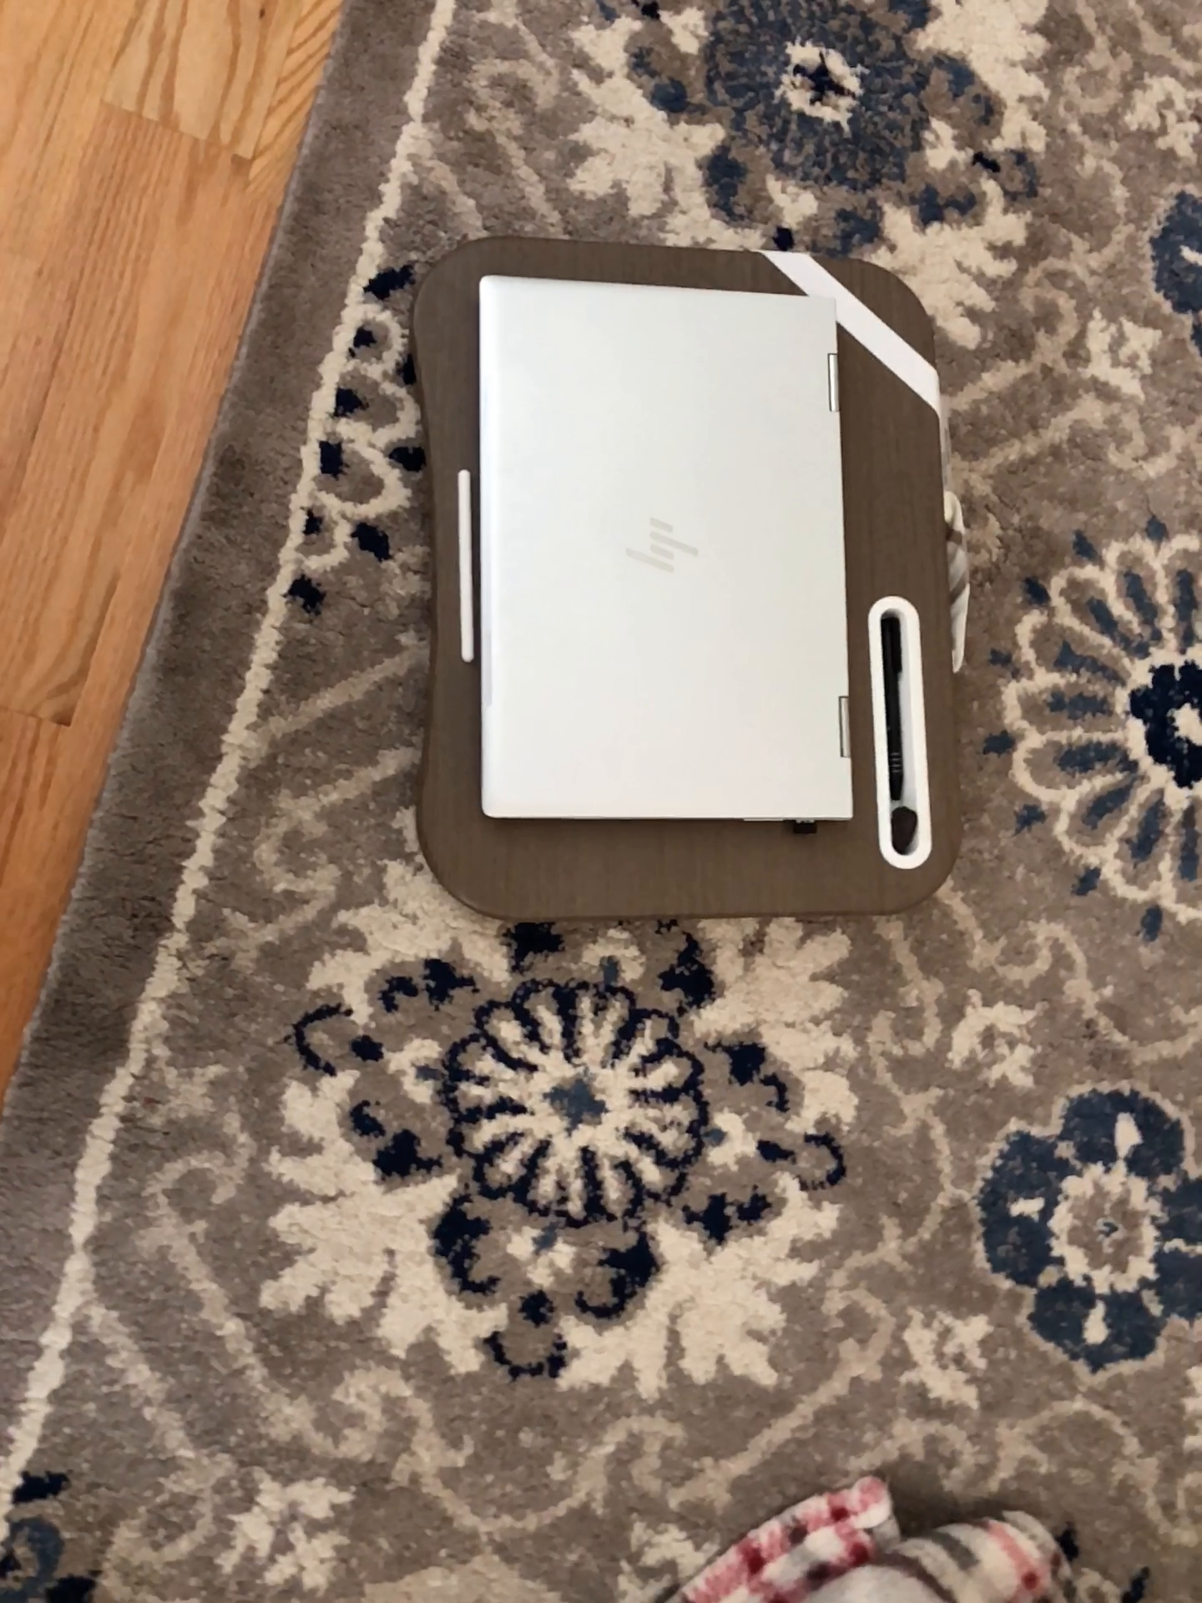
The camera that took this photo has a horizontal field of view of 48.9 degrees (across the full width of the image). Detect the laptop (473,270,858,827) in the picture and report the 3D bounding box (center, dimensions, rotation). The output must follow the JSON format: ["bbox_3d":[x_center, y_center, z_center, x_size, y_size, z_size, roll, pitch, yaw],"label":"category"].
[{"bbox_3d":[0.040,-0.163,0.863,0.241,0.026,0.354,1,82,-11],"label":"laptop"}]
